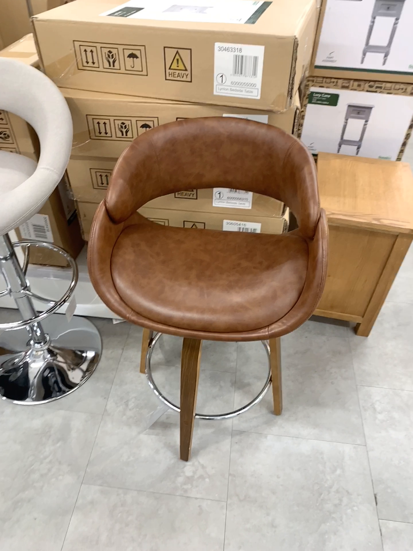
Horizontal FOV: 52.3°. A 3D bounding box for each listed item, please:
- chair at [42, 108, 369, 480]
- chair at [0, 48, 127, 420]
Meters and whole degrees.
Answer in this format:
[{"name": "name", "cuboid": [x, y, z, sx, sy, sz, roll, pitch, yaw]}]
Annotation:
[{"name": "chair", "cuboid": [0.018, 0.082, 1.183, 0.543, 0.846, 0.555, 6, 44, 5]}, {"name": "chair", "cuboid": [-0.588, -0.068, 1.251, 0.493, 0.945, 0.525, 4, 44, 3]}]
